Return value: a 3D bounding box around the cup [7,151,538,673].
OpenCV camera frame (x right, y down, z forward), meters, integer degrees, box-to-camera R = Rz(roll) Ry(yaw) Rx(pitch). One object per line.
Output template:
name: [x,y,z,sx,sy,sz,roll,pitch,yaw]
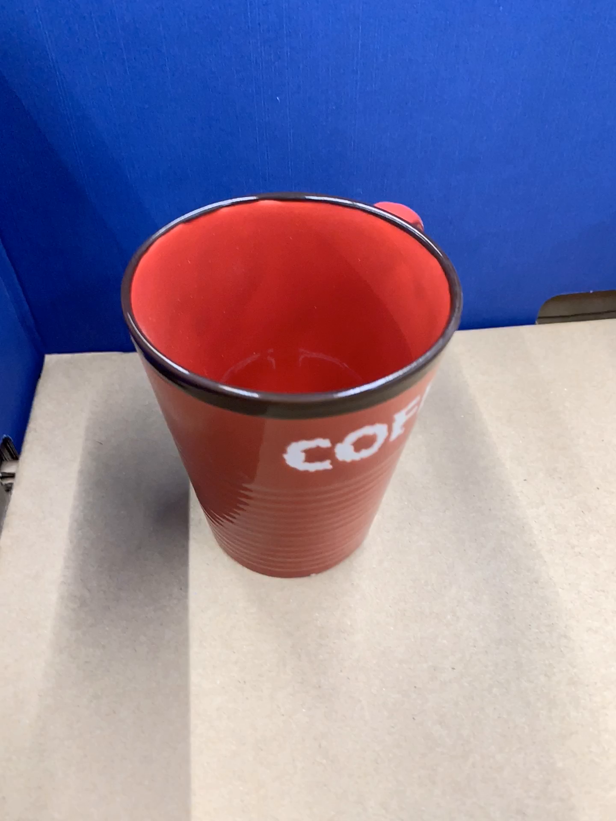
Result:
cup: [-0.002,-0.010,0.218,0.100,0.092,0.125,24,50,23]
